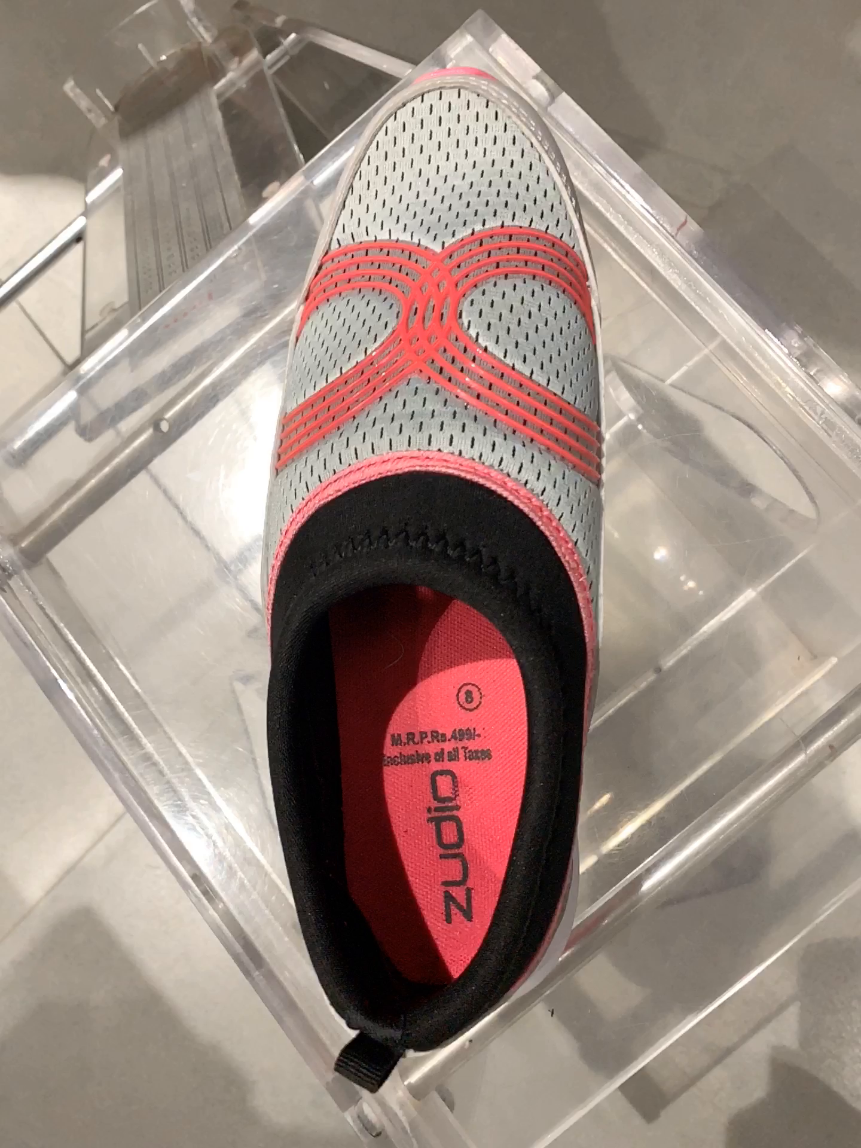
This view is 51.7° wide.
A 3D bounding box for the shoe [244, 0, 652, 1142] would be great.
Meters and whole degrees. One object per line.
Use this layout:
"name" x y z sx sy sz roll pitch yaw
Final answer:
"shoe" 0.006 -0.009 0.274 0.100 0.080 0.300 -2 83 8
